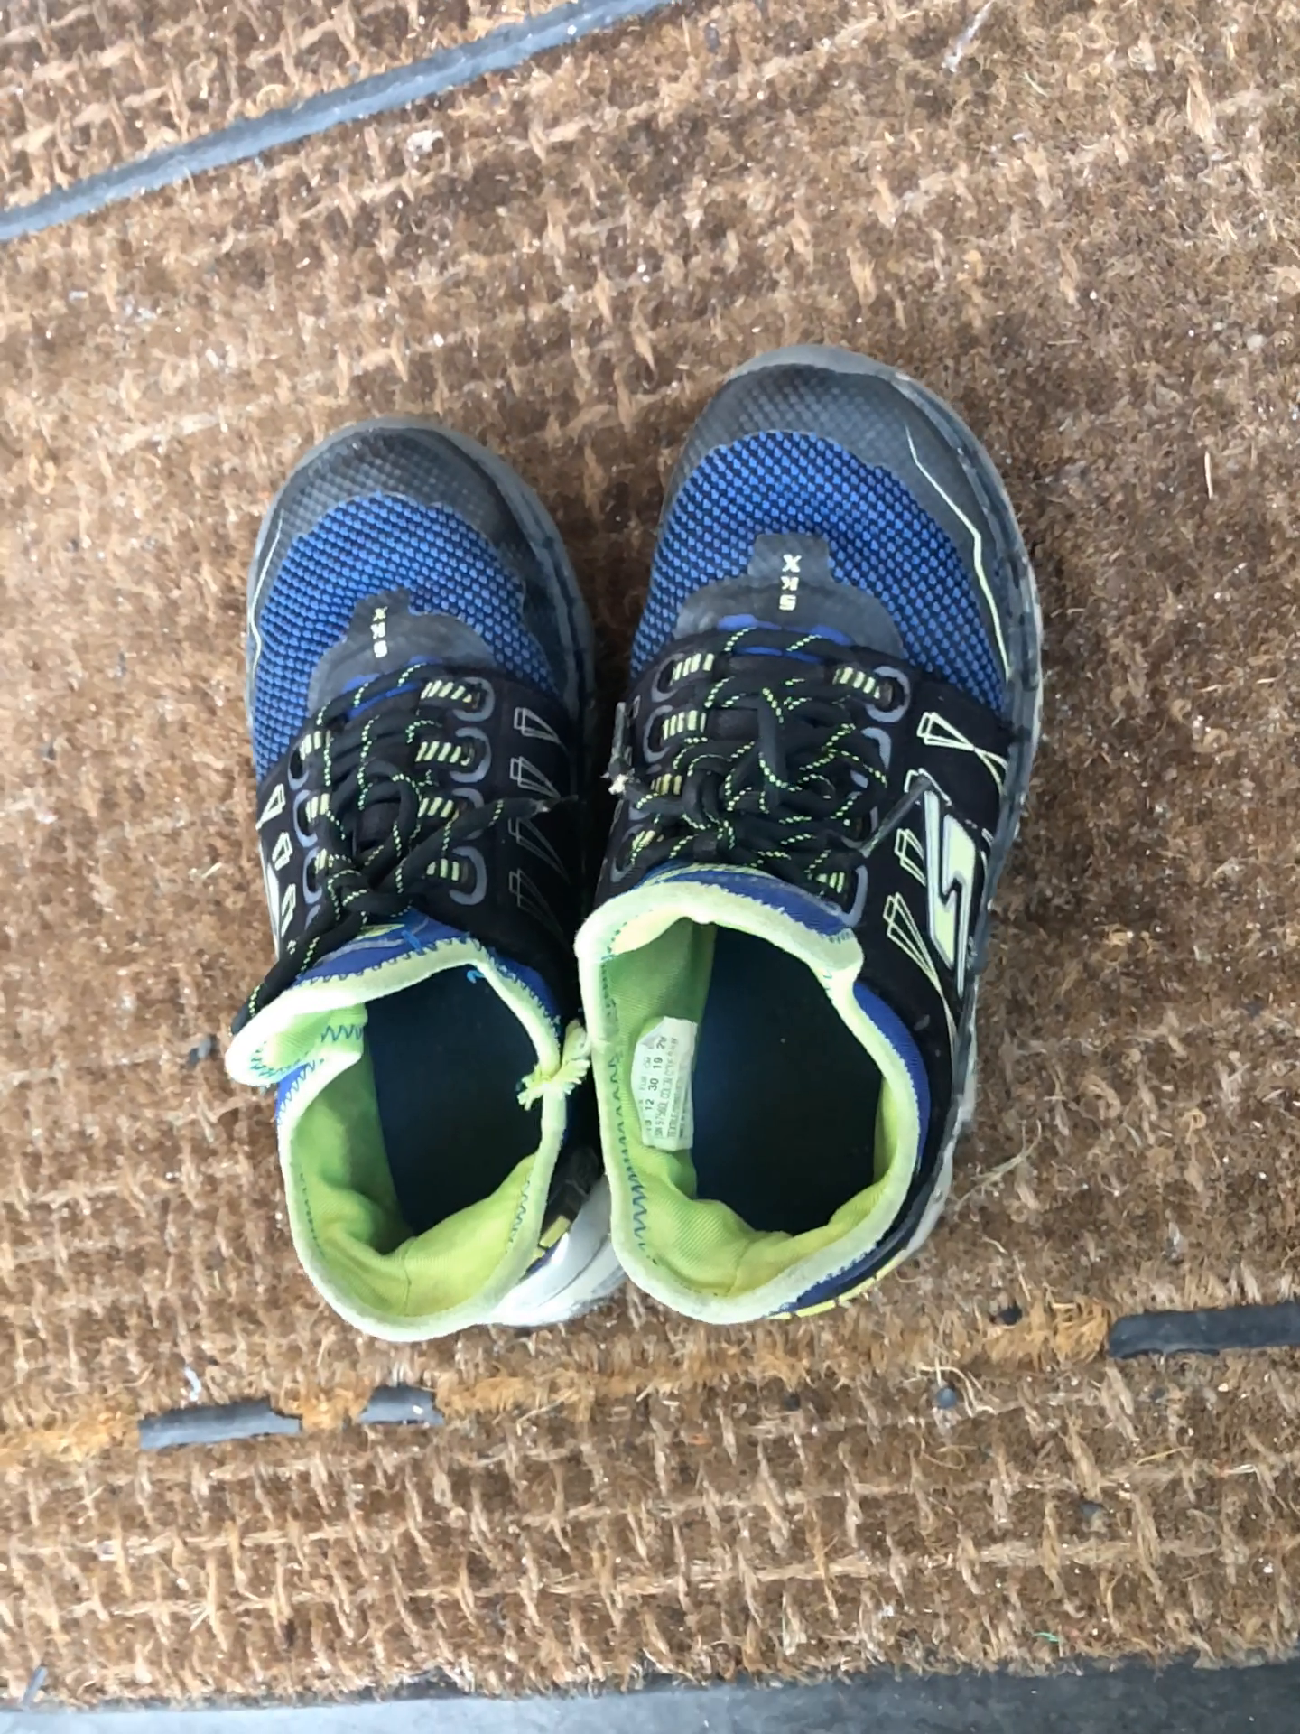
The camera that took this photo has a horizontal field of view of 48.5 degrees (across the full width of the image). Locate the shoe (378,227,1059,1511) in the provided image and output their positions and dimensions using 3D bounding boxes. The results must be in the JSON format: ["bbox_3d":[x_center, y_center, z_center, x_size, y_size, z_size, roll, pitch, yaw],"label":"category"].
[{"bbox_3d":[0.021,-0.003,0.284,0.090,0.100,0.200,7,91,17],"label":"shoe"}]

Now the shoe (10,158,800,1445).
[{"bbox_3d":[-0.048,-0.011,0.323,0.090,0.100,0.230,-16,85,16],"label":"shoe"}]
